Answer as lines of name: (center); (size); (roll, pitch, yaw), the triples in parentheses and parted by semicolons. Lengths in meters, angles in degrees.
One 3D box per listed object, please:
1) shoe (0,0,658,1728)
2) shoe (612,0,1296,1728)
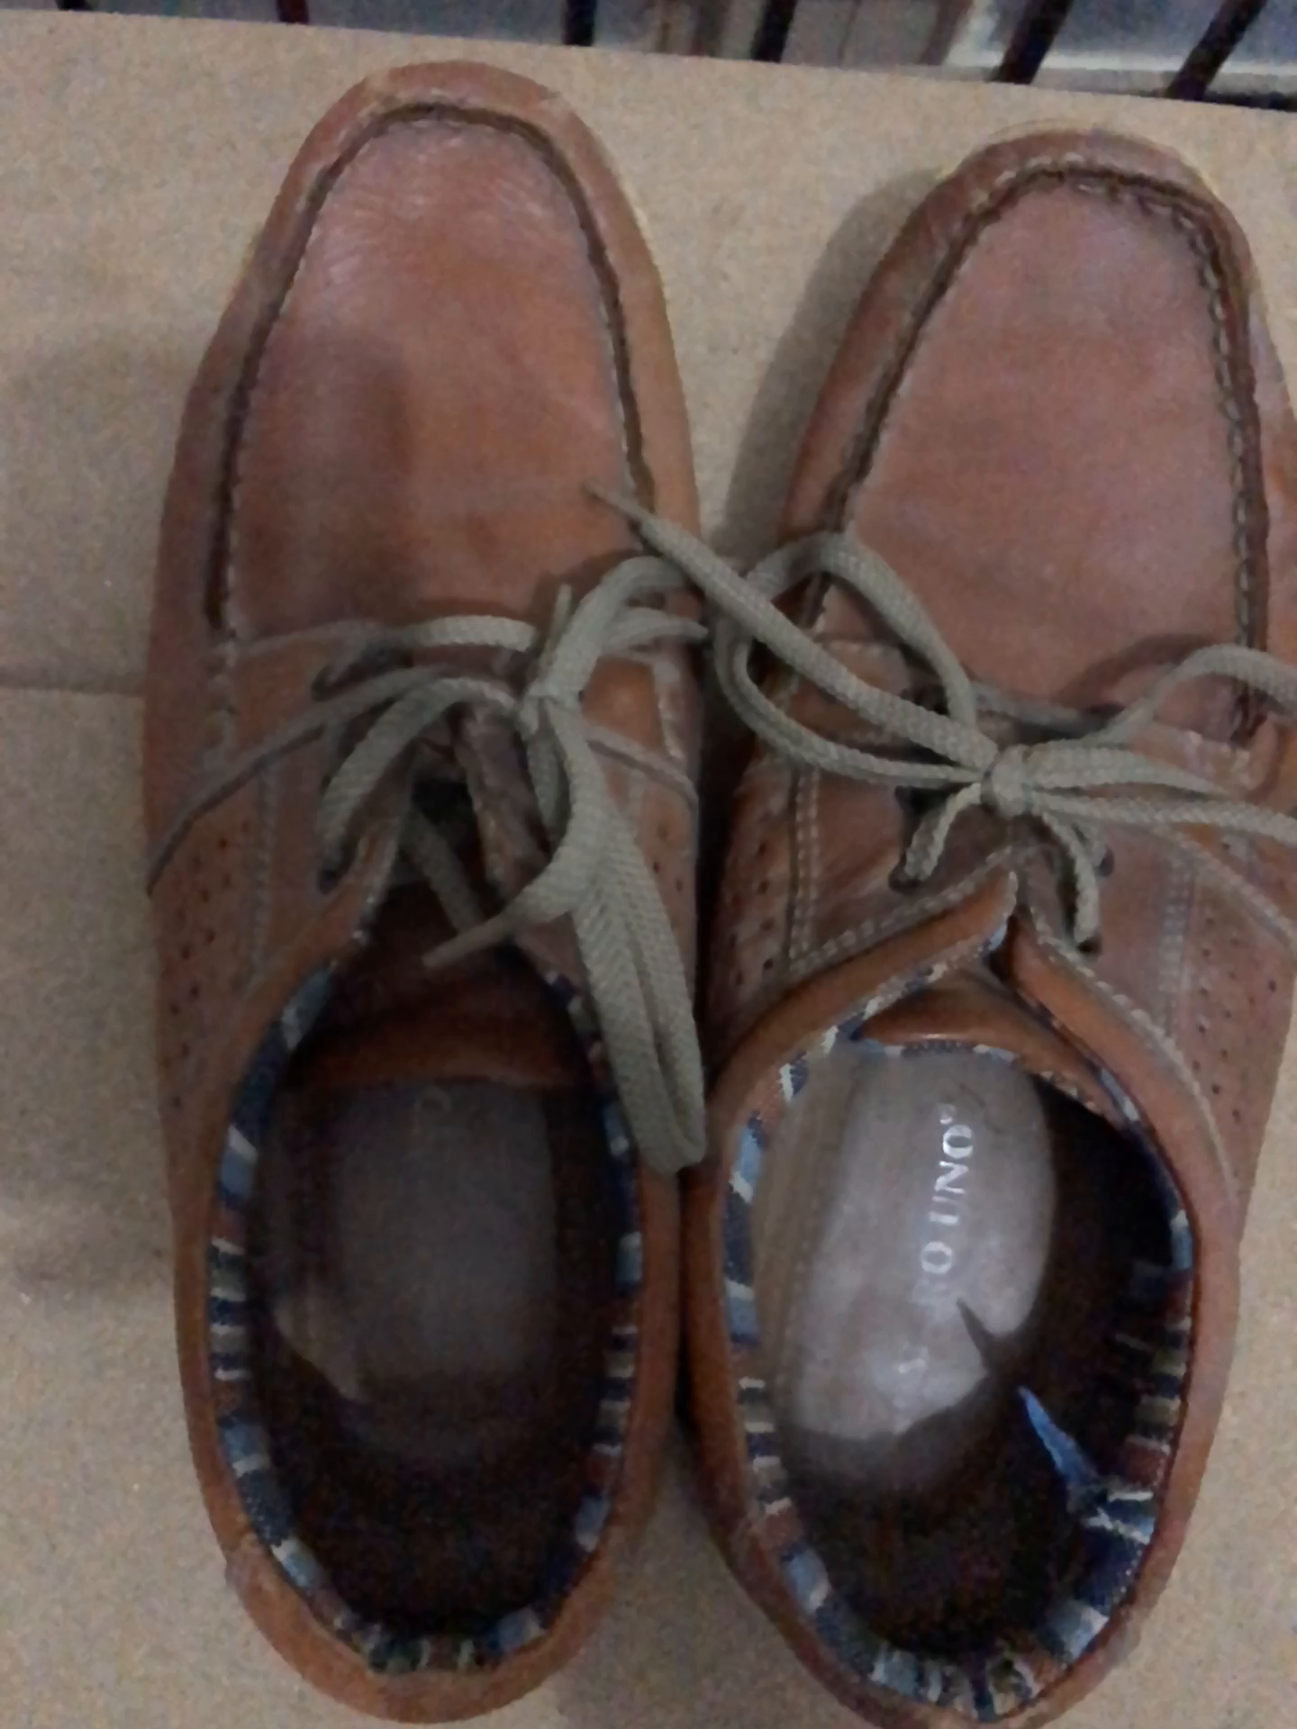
shoe: (-0.053, -0.021, 0.248); (0.100, 0.100, 0.287); (-1, 79, 5)
shoe: (0.065, -0.011, 0.240); (0.100, 0.100, 0.280); (5, 79, 6)
